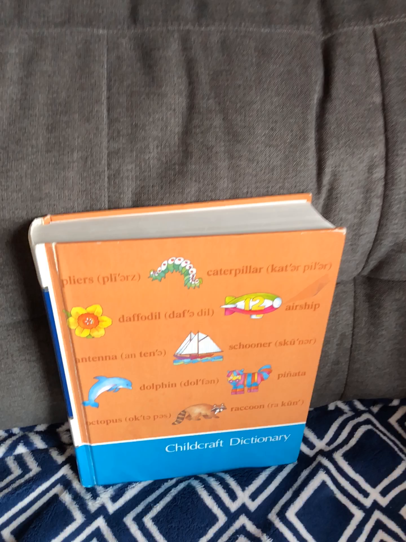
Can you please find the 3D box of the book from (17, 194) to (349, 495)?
[{"bbox_3d":[-0.014,0.072,0.376,0.210,0.260,0.055,-4,33,-7],"label":"book"}]
